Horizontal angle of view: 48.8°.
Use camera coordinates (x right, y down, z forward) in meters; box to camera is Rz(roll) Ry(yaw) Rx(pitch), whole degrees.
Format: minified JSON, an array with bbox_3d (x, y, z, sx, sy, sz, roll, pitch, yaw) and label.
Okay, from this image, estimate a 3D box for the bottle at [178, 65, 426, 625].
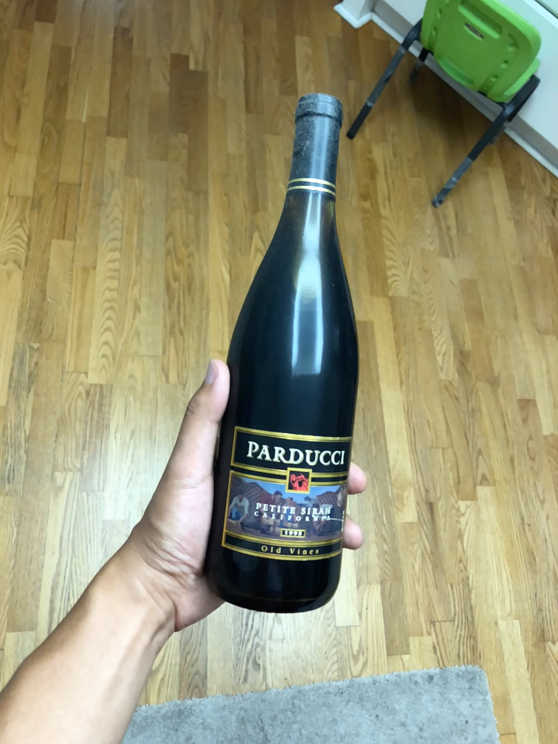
[{"bbox_3d":[0.007,-0.009,0.352,0.090,0.070,0.280,7,93,-13],"label":"bottle"}]
